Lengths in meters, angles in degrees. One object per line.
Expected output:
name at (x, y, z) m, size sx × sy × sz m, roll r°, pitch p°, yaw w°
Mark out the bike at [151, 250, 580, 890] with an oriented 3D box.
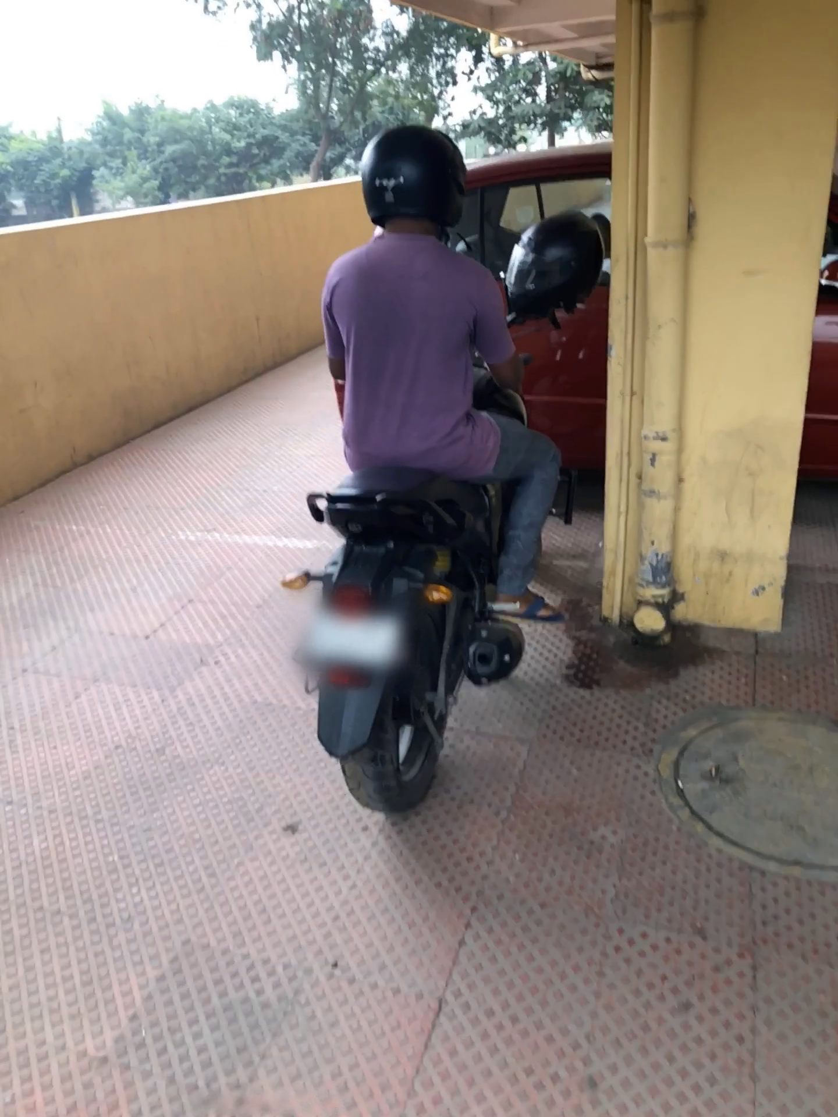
bike at (0.052, -0.196, 2.843) m, size 0.852 × 1.154 × 1.917 m, roll 1°, pitch 26°, yaw 10°
